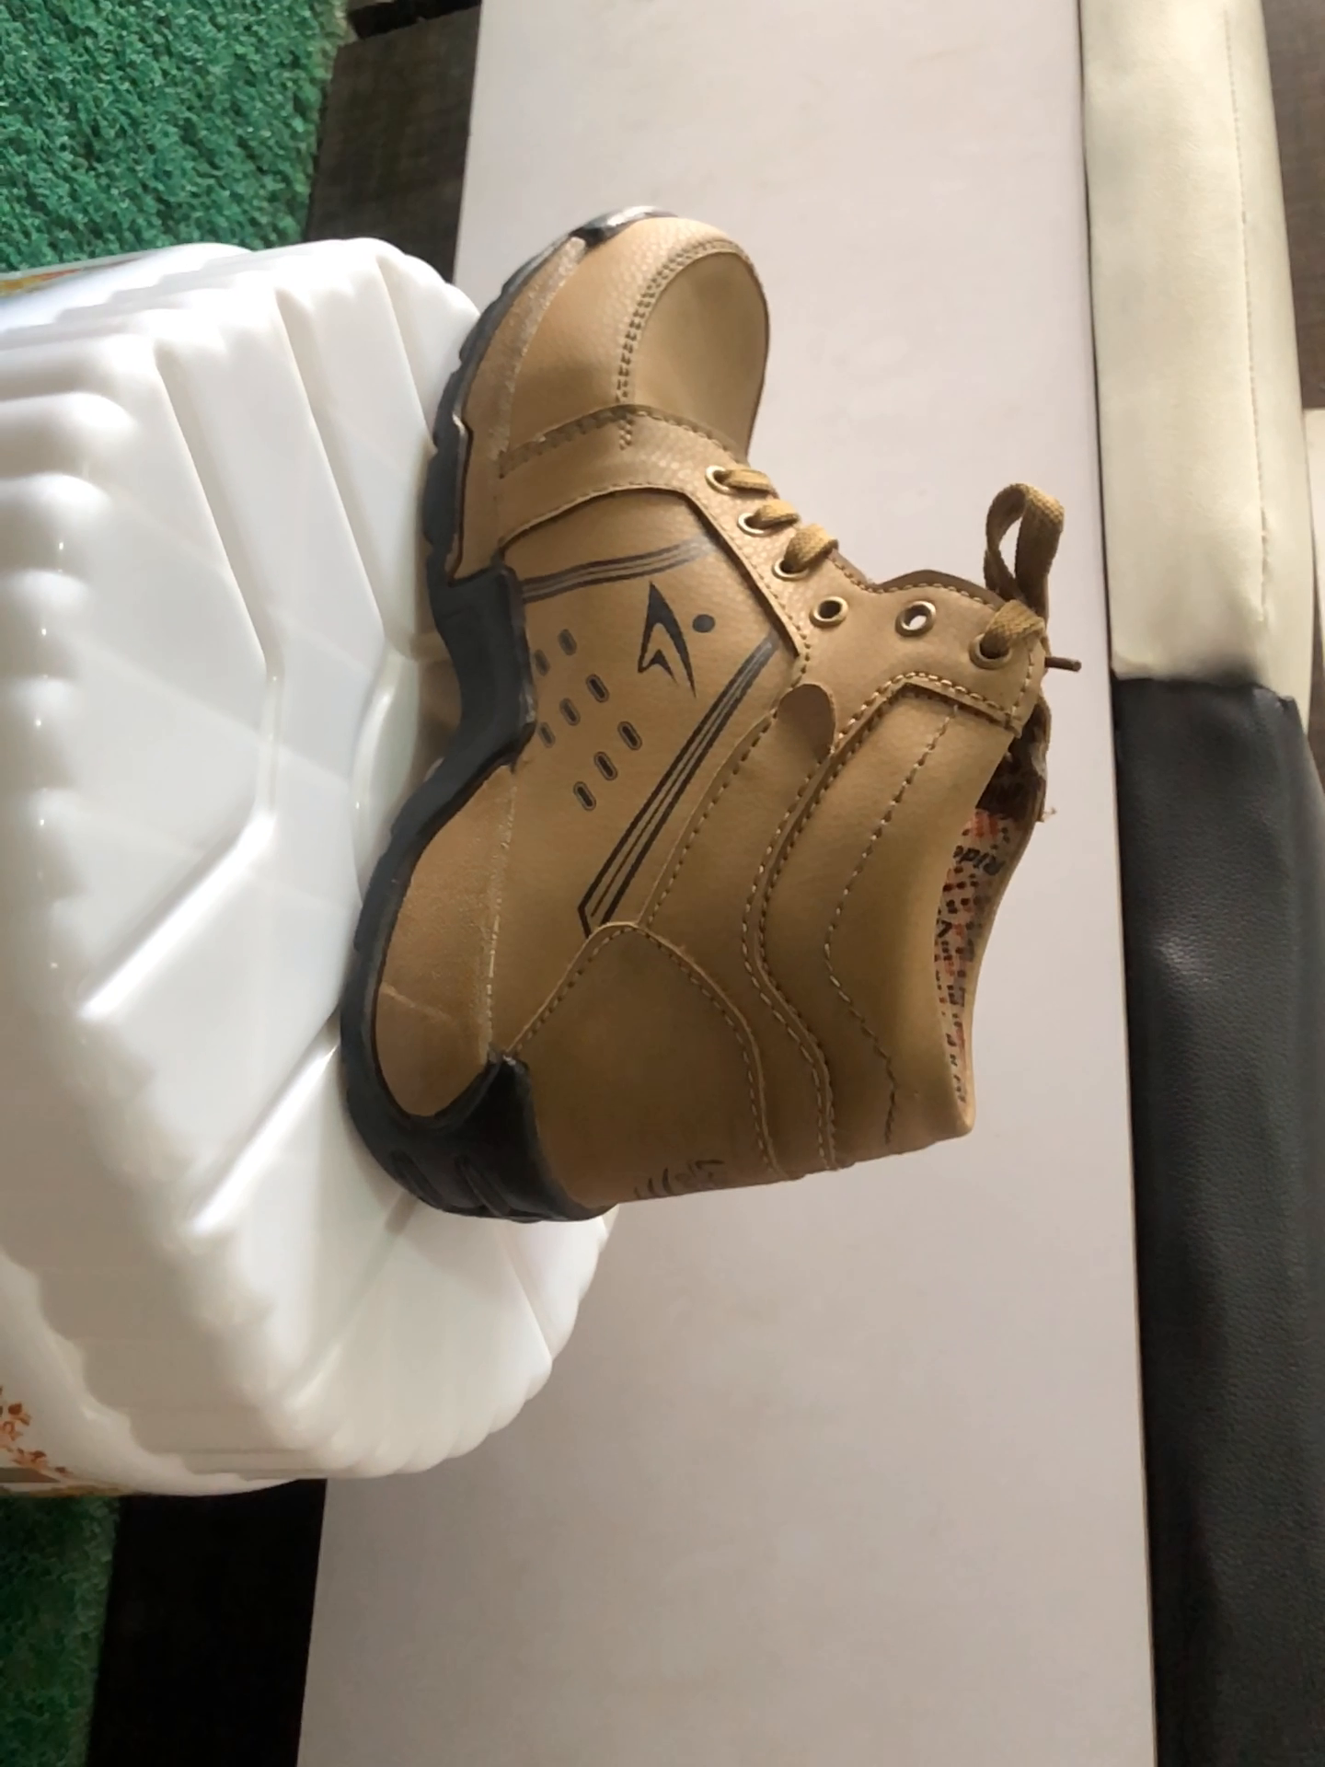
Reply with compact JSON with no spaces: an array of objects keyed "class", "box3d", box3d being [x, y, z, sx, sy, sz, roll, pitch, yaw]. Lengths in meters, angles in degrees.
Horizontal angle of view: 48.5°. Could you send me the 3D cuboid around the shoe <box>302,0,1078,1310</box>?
[{"class":"shoe","box3d":[0.031,-0.068,0.347,0.141,0.109,0.300,52,39,-57]}]
